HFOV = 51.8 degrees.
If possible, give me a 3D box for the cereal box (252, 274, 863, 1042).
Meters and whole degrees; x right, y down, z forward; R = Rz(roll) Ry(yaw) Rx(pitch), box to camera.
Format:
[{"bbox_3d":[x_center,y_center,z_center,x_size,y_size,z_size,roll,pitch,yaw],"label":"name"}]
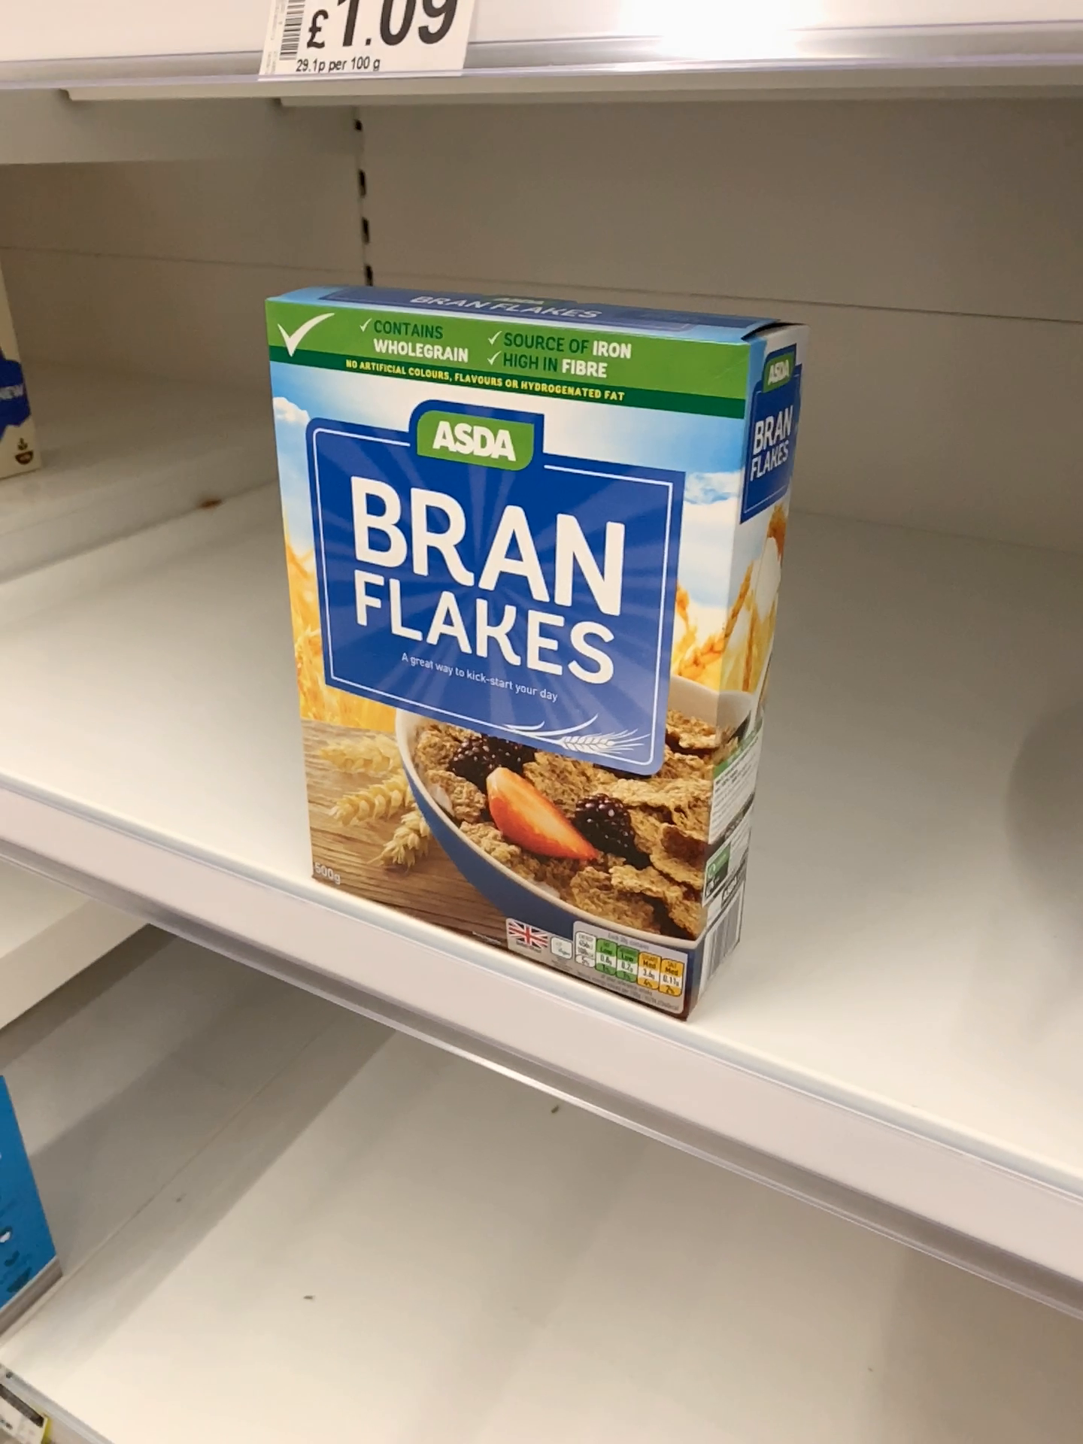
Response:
[{"bbox_3d":[-0.002,-0.036,0.479,0.220,0.278,0.081,15,28,26],"label":"cereal box"}]
